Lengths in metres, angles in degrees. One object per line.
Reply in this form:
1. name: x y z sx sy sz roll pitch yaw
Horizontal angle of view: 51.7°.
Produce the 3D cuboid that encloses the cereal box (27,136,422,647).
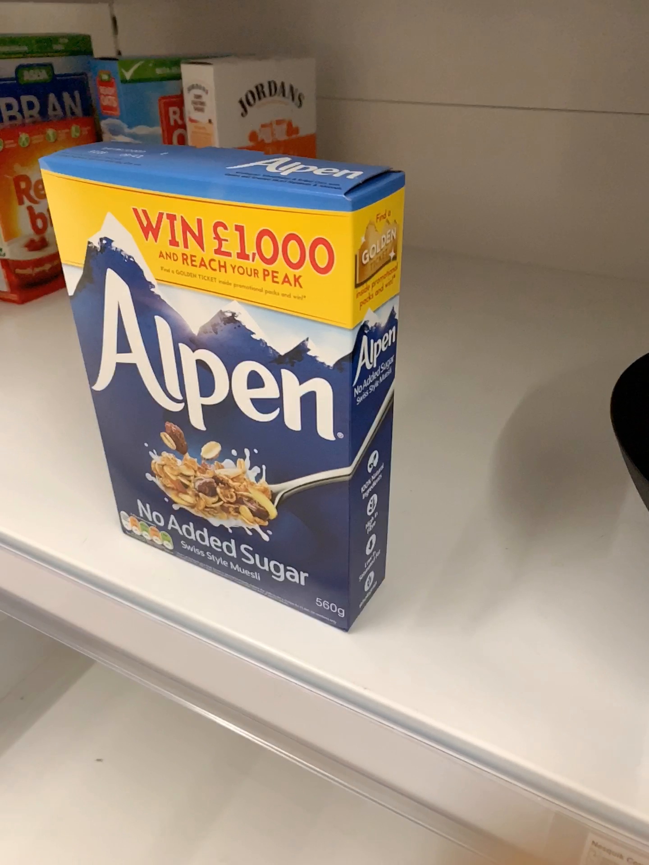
1. cereal box: -0.050 -0.023 0.366 0.180 0.238 0.060 17 35 27
